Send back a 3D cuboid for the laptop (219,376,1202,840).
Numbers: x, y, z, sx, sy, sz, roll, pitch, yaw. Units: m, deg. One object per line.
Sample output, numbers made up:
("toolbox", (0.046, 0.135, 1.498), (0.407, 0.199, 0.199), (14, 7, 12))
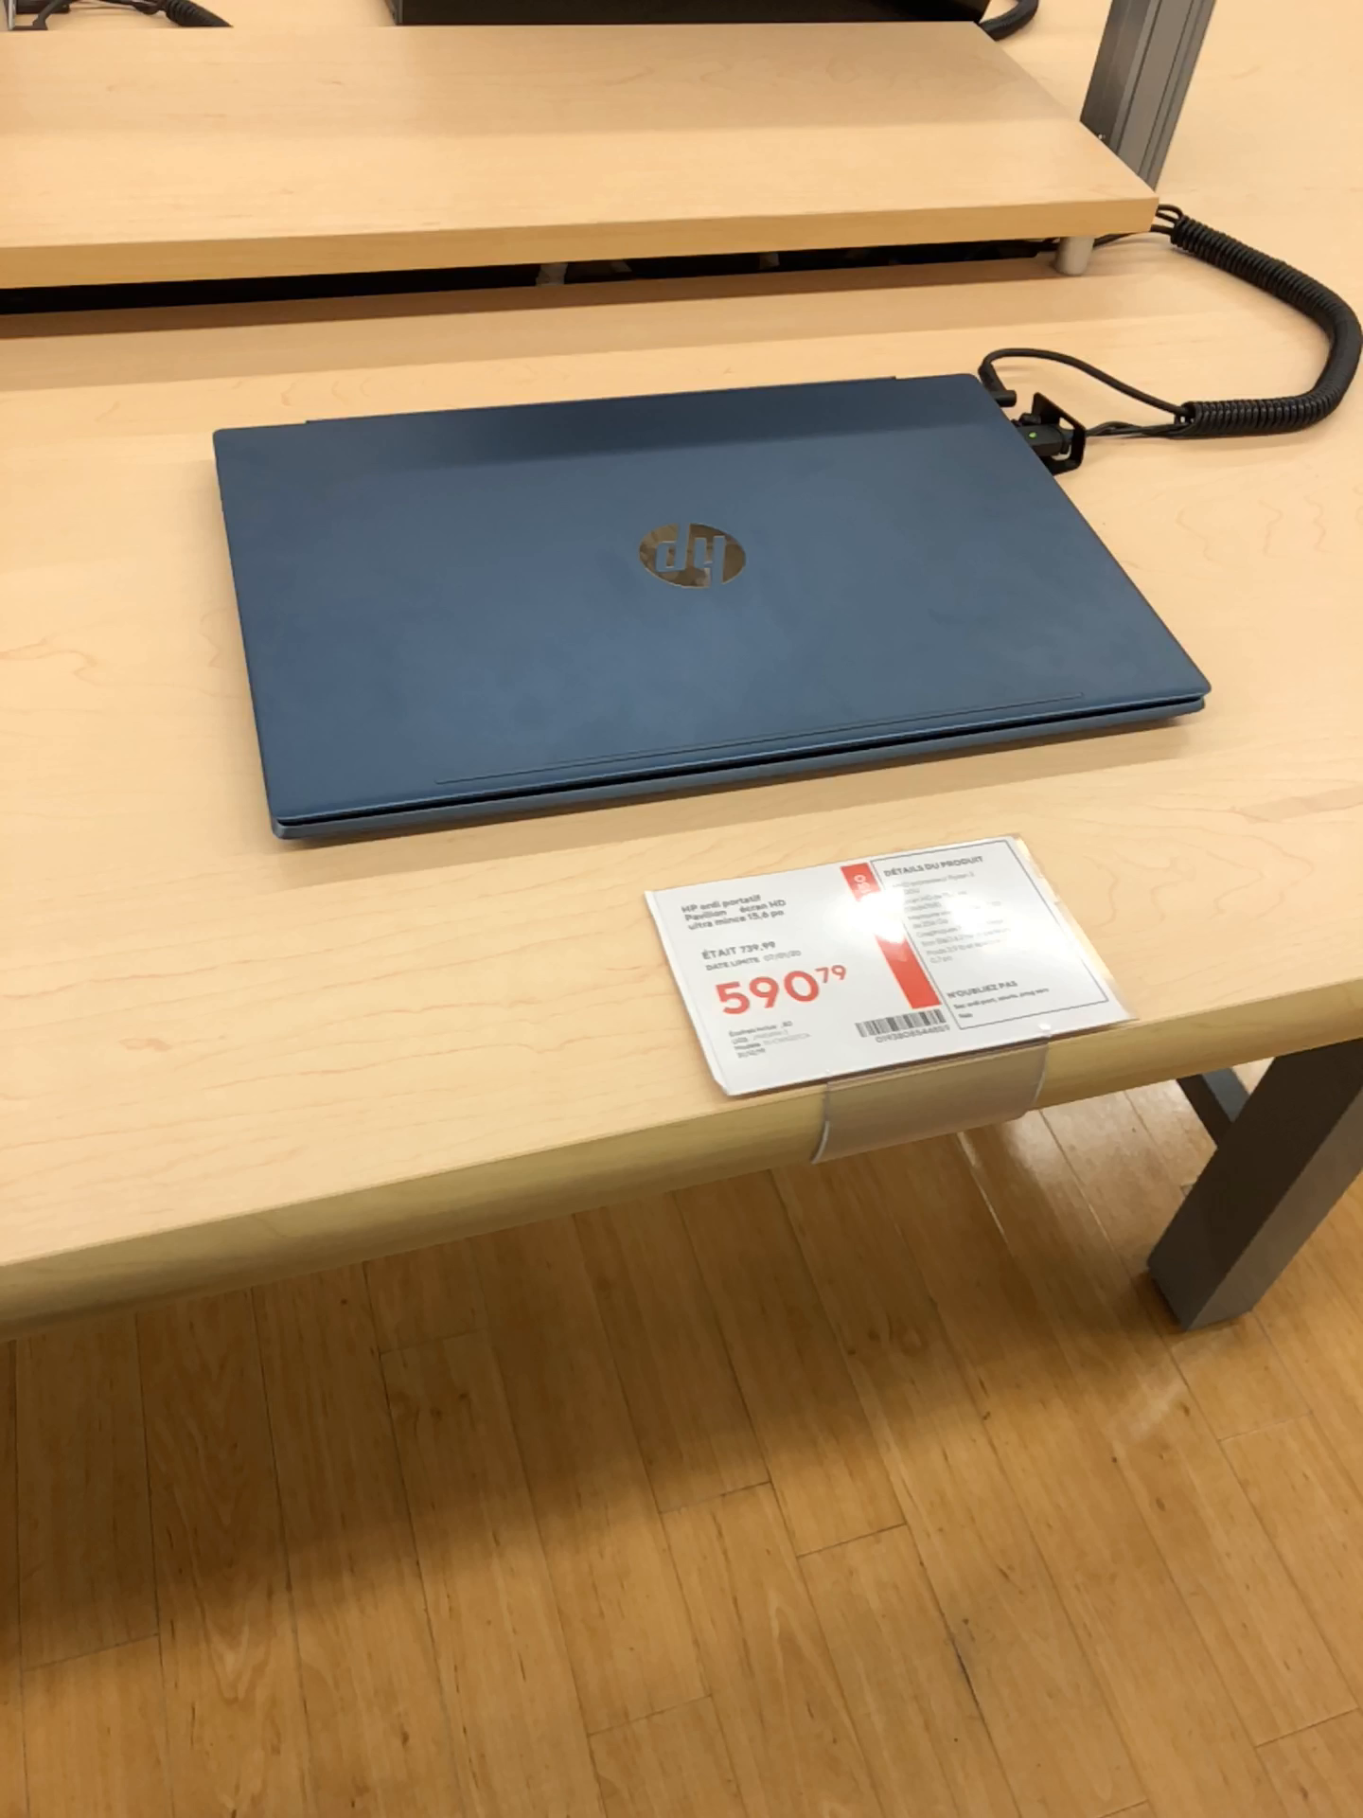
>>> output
("laptop", (0.004, -0.140, 0.621), (0.352, 0.012, 0.220), (-10, 54, -13))
